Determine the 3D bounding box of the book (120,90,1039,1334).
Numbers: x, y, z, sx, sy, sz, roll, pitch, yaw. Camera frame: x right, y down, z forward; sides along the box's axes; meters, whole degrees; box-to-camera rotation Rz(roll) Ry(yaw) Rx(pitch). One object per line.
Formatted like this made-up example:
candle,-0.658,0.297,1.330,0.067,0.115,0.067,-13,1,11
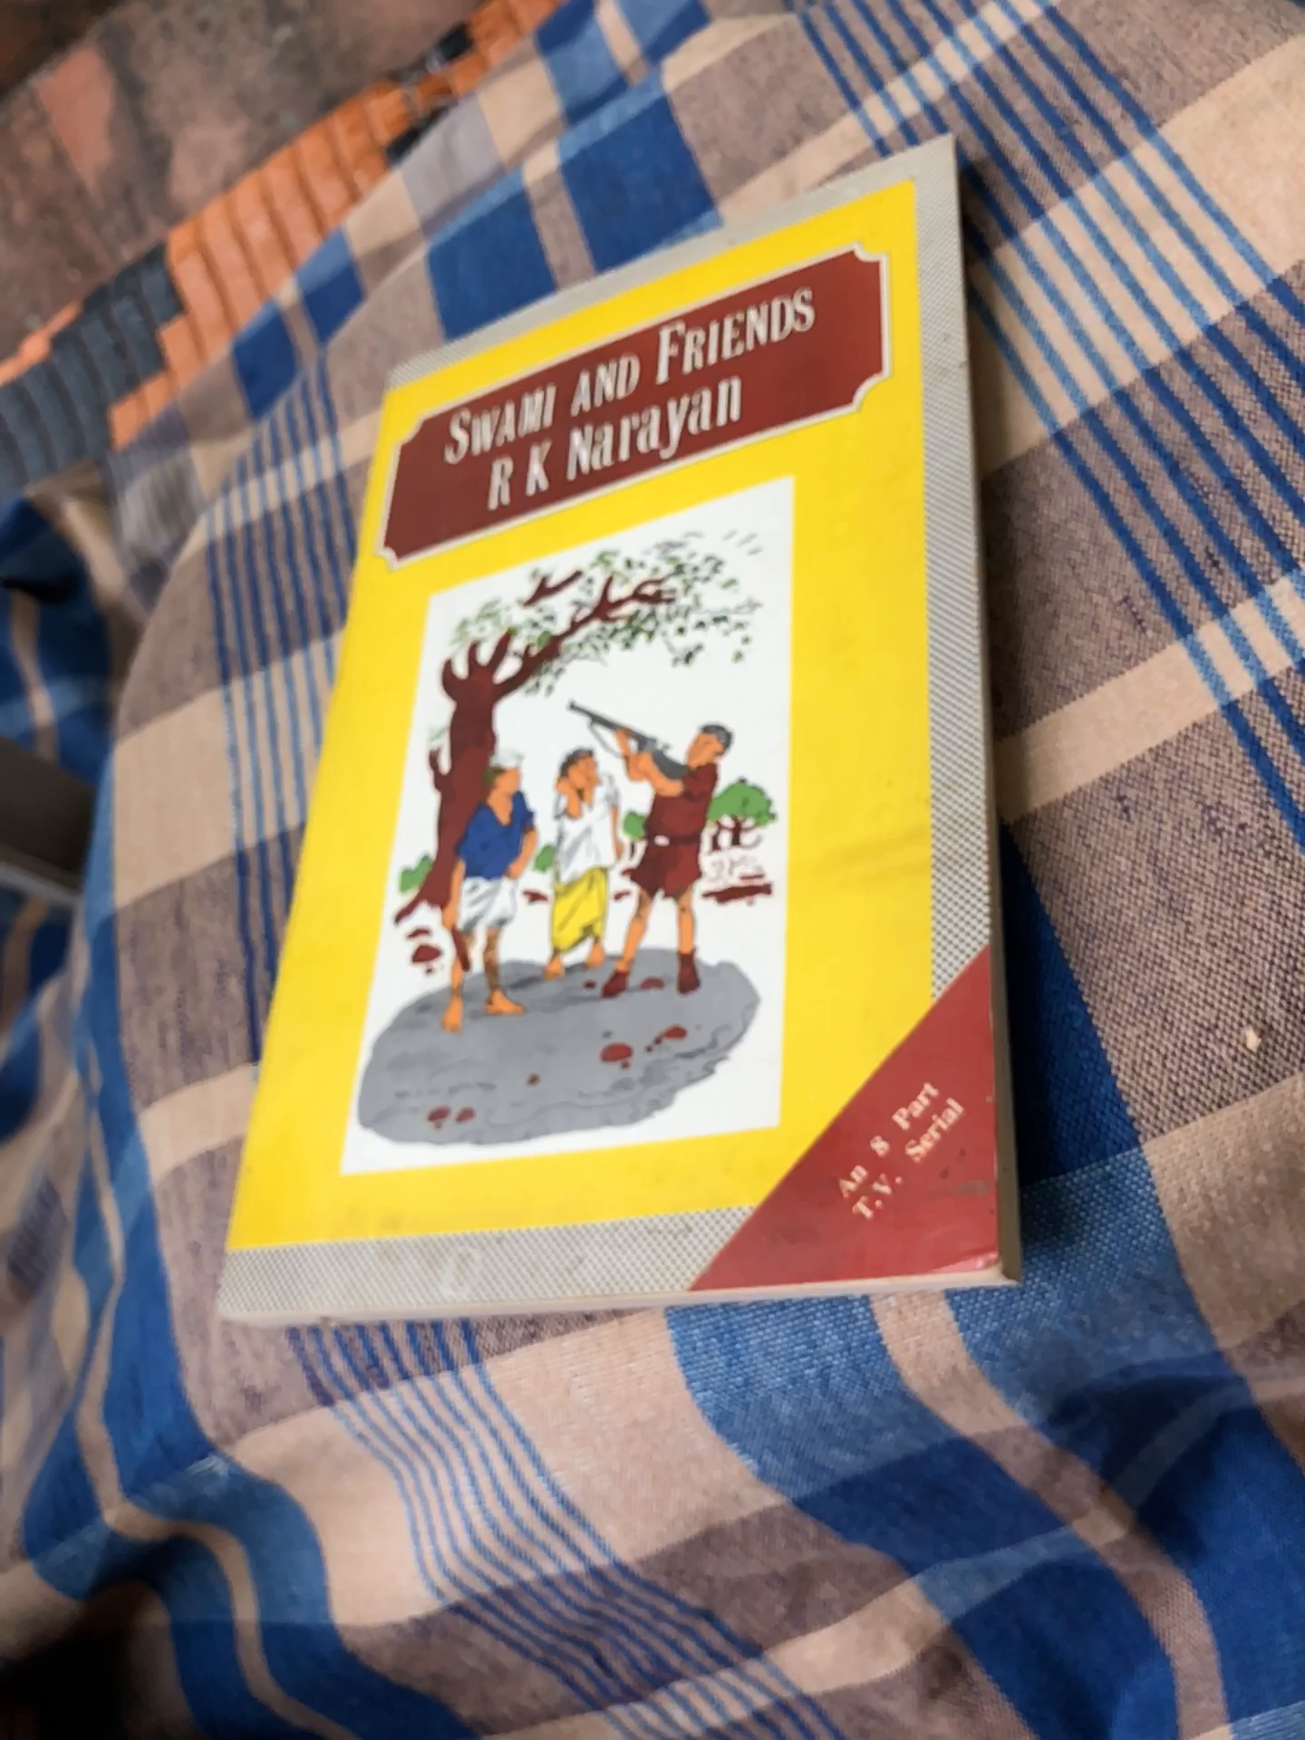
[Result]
book,-0.010,-0.027,0.237,0.130,0.020,0.190,-12,59,29
